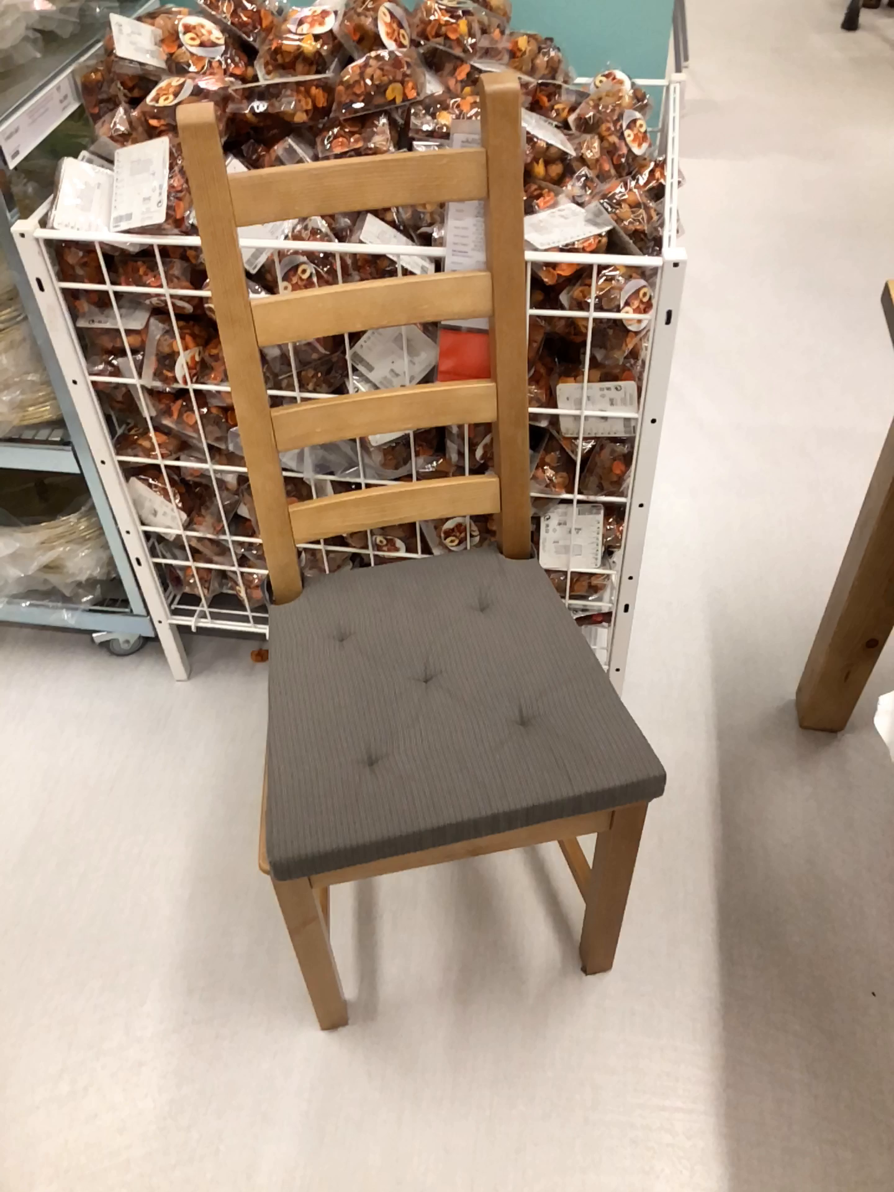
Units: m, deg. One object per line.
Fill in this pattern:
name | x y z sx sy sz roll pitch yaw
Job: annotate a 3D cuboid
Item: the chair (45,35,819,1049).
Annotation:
chair | -0.035 0.013 1.022 0.430 0.914 0.473 -10 46 -7
